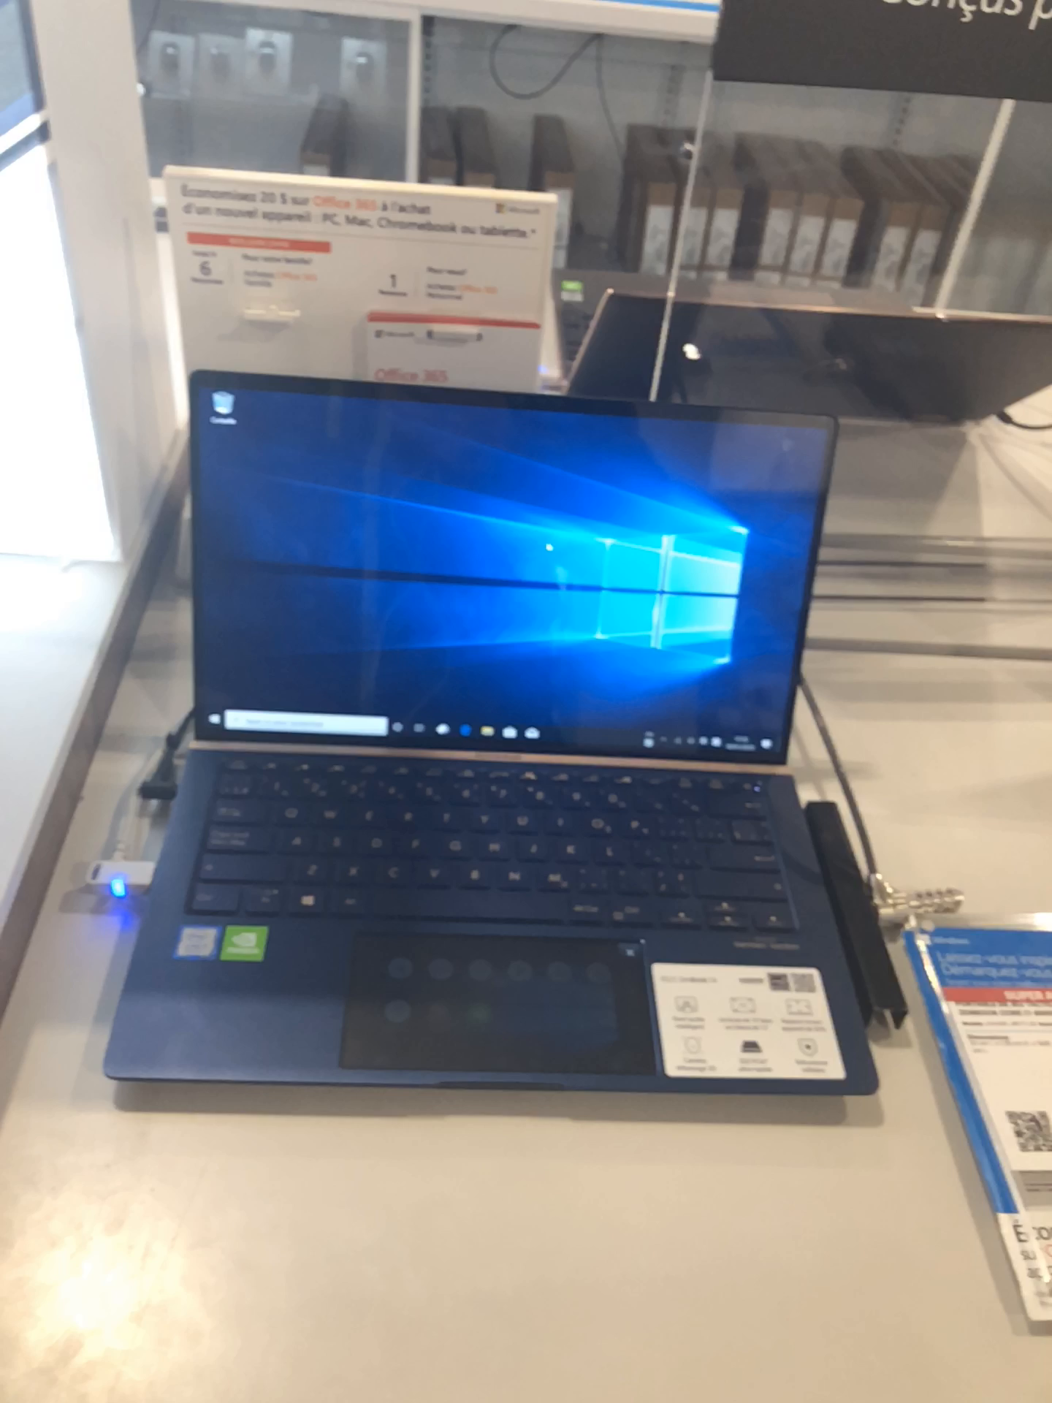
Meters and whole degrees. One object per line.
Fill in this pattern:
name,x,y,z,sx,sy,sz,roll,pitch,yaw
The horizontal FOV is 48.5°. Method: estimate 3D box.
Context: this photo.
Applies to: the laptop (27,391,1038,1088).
laptop,-0.006,0.008,0.514,0.308,0.179,0.254,3,38,-5
